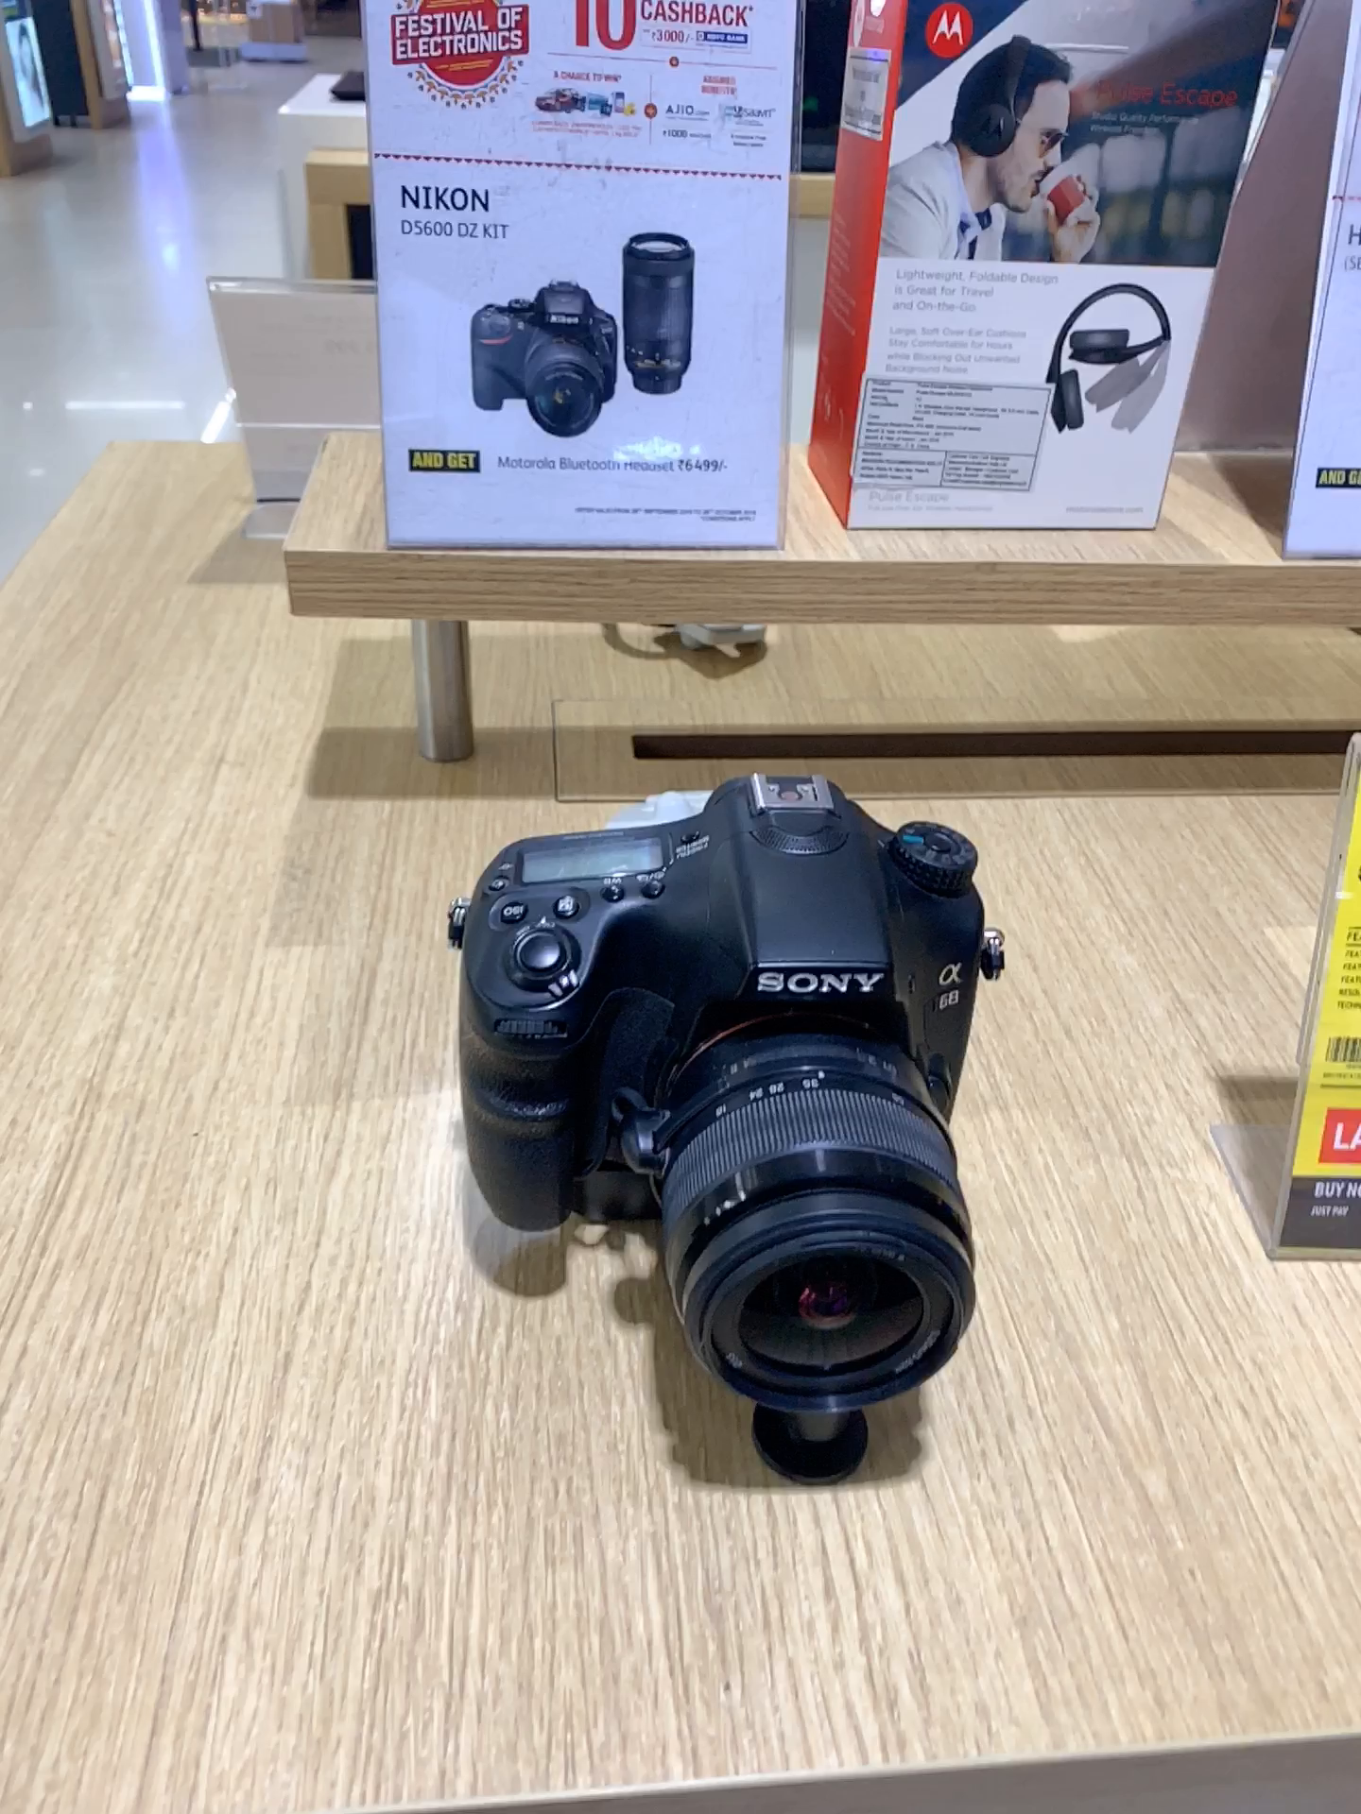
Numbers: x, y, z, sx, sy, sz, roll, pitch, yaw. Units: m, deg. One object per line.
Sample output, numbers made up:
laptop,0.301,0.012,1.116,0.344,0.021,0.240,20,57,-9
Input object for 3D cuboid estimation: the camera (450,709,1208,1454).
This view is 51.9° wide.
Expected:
camera,0.018,0.025,0.331,0.130,0.070,0.181,0,34,-5
